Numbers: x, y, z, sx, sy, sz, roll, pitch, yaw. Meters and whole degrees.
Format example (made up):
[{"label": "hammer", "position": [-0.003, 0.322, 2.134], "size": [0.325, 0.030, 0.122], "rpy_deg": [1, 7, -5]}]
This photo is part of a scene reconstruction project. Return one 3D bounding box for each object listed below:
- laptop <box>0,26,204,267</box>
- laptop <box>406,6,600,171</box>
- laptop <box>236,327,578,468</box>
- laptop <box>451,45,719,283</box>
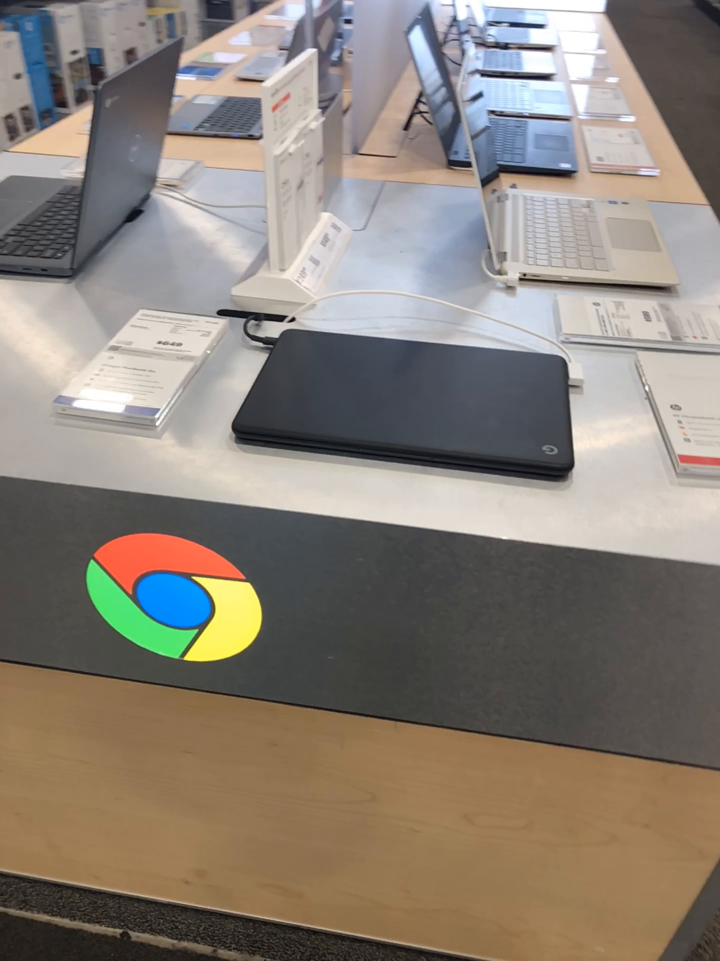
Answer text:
[{"label": "laptop", "position": [-0.399, -0.439, 1.015], "size": [0.292, 0.196, 0.300], "rpy_deg": [5, 39, 4]}, {"label": "laptop", "position": [0.248, -0.702, 1.398], "size": [0.287, 0.189, 0.308], "rpy_deg": [6, 39, 7]}, {"label": "laptop", "position": [0.053, -0.087, 0.754], "size": [0.296, 0.001, 0.195], "rpy_deg": [8, 37, 6]}, {"label": "laptop", "position": [0.277, -0.428, 1.042], "size": [0.274, 0.206, 0.304], "rpy_deg": [5, 38, 6]}]
